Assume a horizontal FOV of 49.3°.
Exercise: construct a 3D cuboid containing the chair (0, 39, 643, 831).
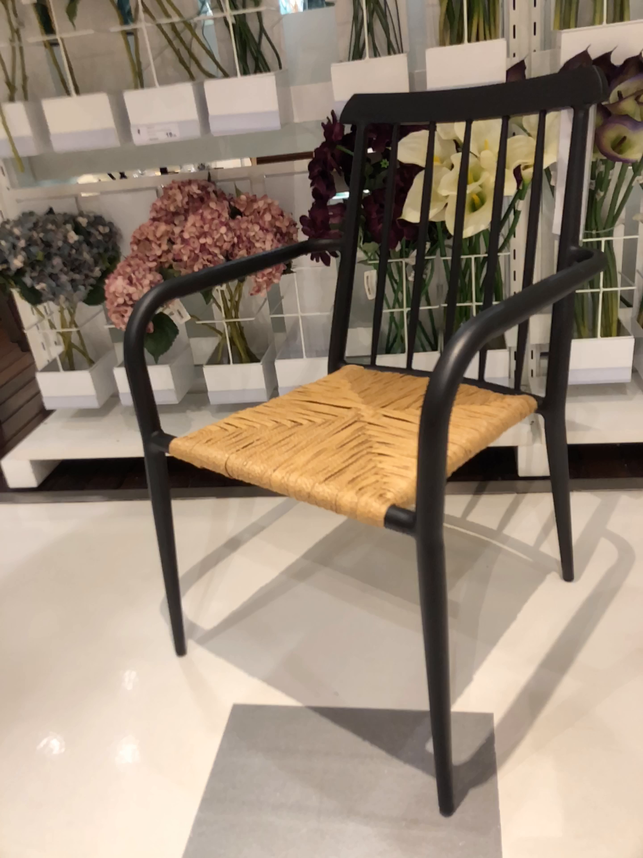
[{"bbox_3d":[0.070,-0.062,0.978,0.541,0.754,0.583,14,34,38],"label":"chair"}]
